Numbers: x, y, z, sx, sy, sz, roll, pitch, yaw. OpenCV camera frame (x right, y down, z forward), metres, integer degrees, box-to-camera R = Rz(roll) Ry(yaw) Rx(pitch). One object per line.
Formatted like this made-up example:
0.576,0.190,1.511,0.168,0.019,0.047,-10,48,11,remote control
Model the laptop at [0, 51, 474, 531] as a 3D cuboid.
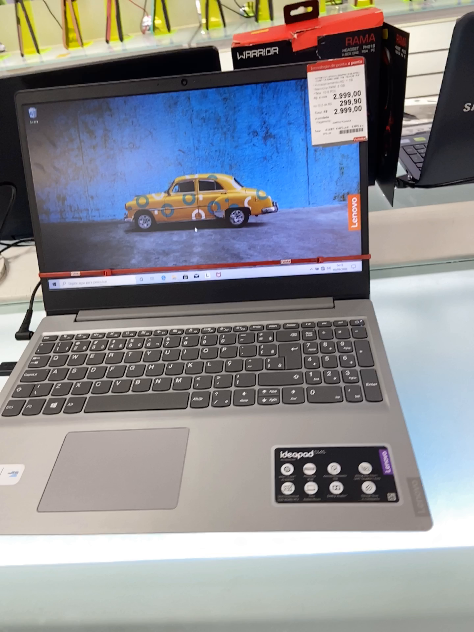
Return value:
-0.059,-0.053,0.429,0.368,0.209,0.381,-4,39,7,laptop
